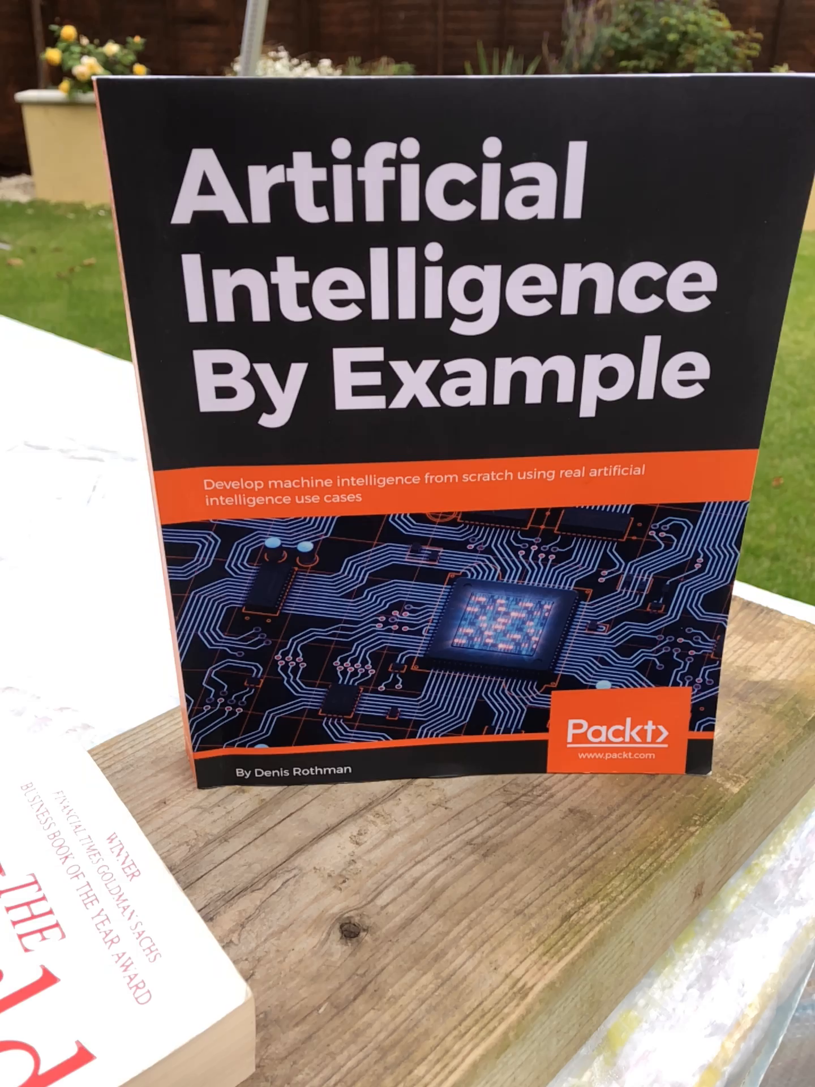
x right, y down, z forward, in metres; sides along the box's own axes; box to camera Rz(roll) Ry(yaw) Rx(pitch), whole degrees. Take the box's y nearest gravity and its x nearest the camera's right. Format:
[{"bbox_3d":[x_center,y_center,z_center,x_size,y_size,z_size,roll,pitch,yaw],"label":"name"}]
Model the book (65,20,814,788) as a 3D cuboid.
[{"bbox_3d":[0.019,-0.029,0.293,0.210,0.238,0.040,0,25,-1],"label":"book"}]
